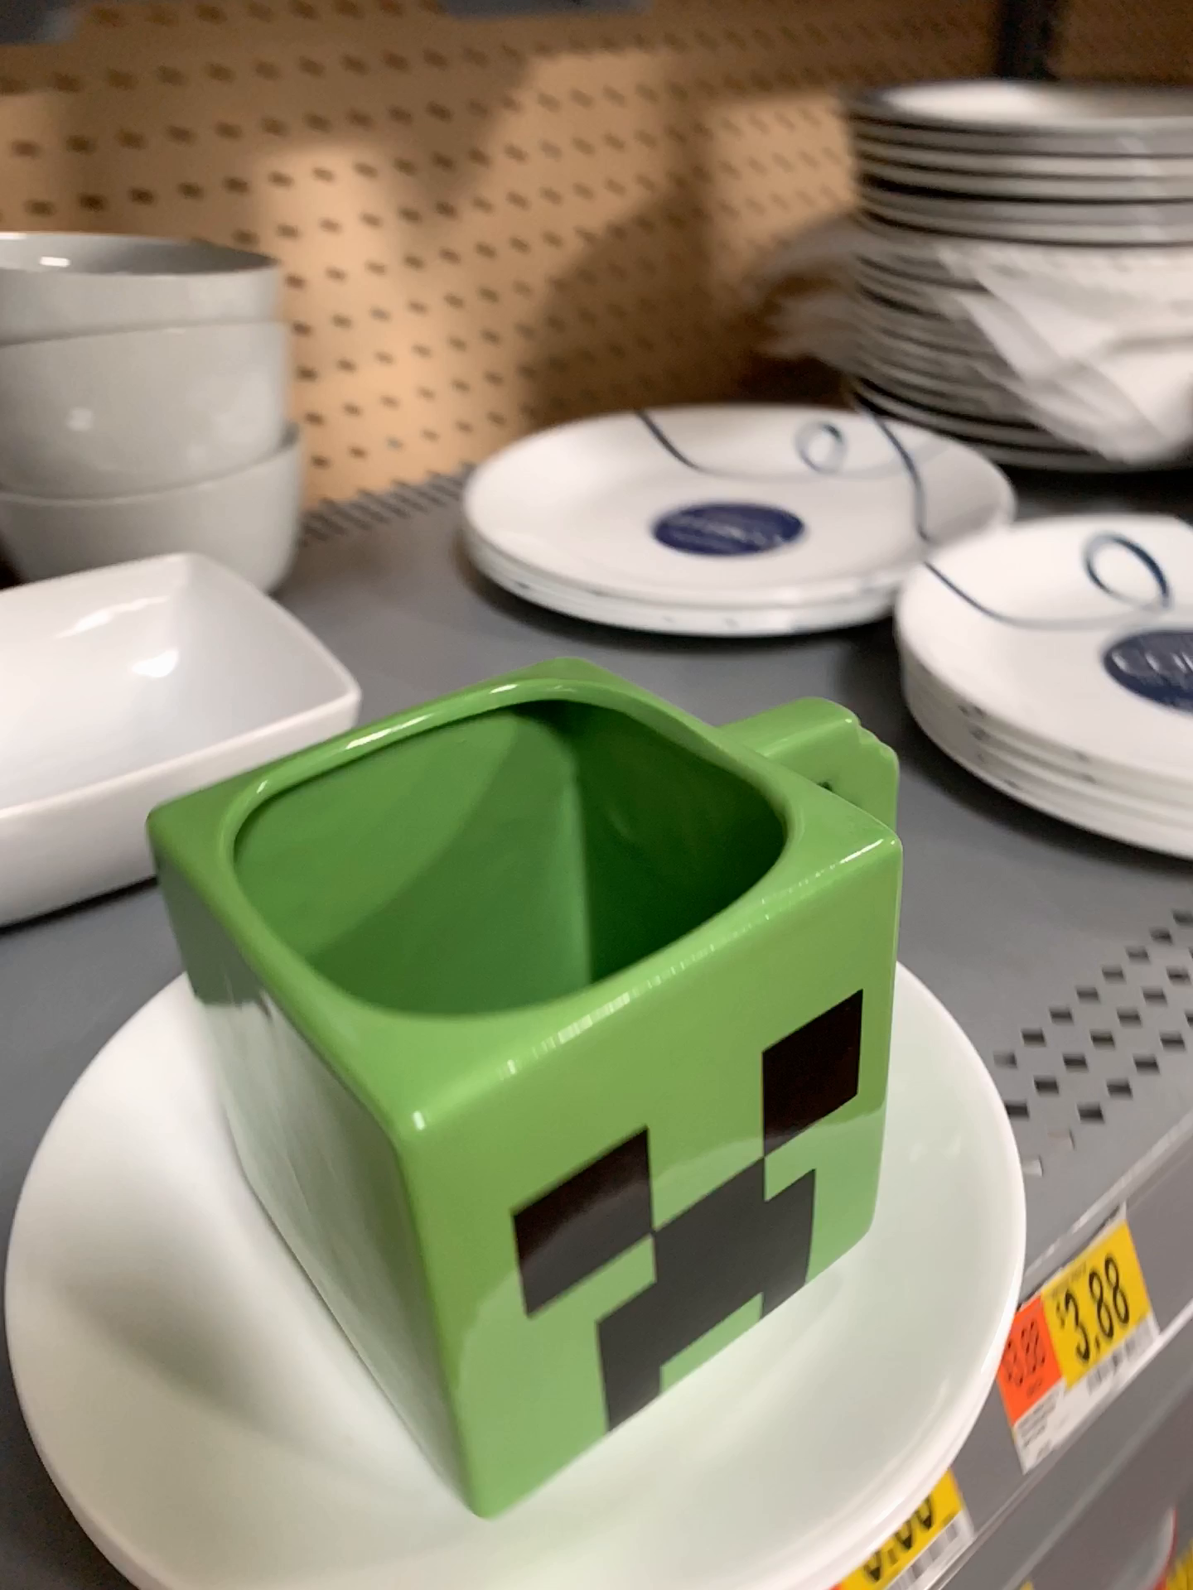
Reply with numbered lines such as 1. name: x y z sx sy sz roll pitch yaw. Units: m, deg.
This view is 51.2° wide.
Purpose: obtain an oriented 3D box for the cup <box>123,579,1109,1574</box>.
1. cup: 0.005 0.040 0.251 0.142 0.104 0.106 -24 38 -29
